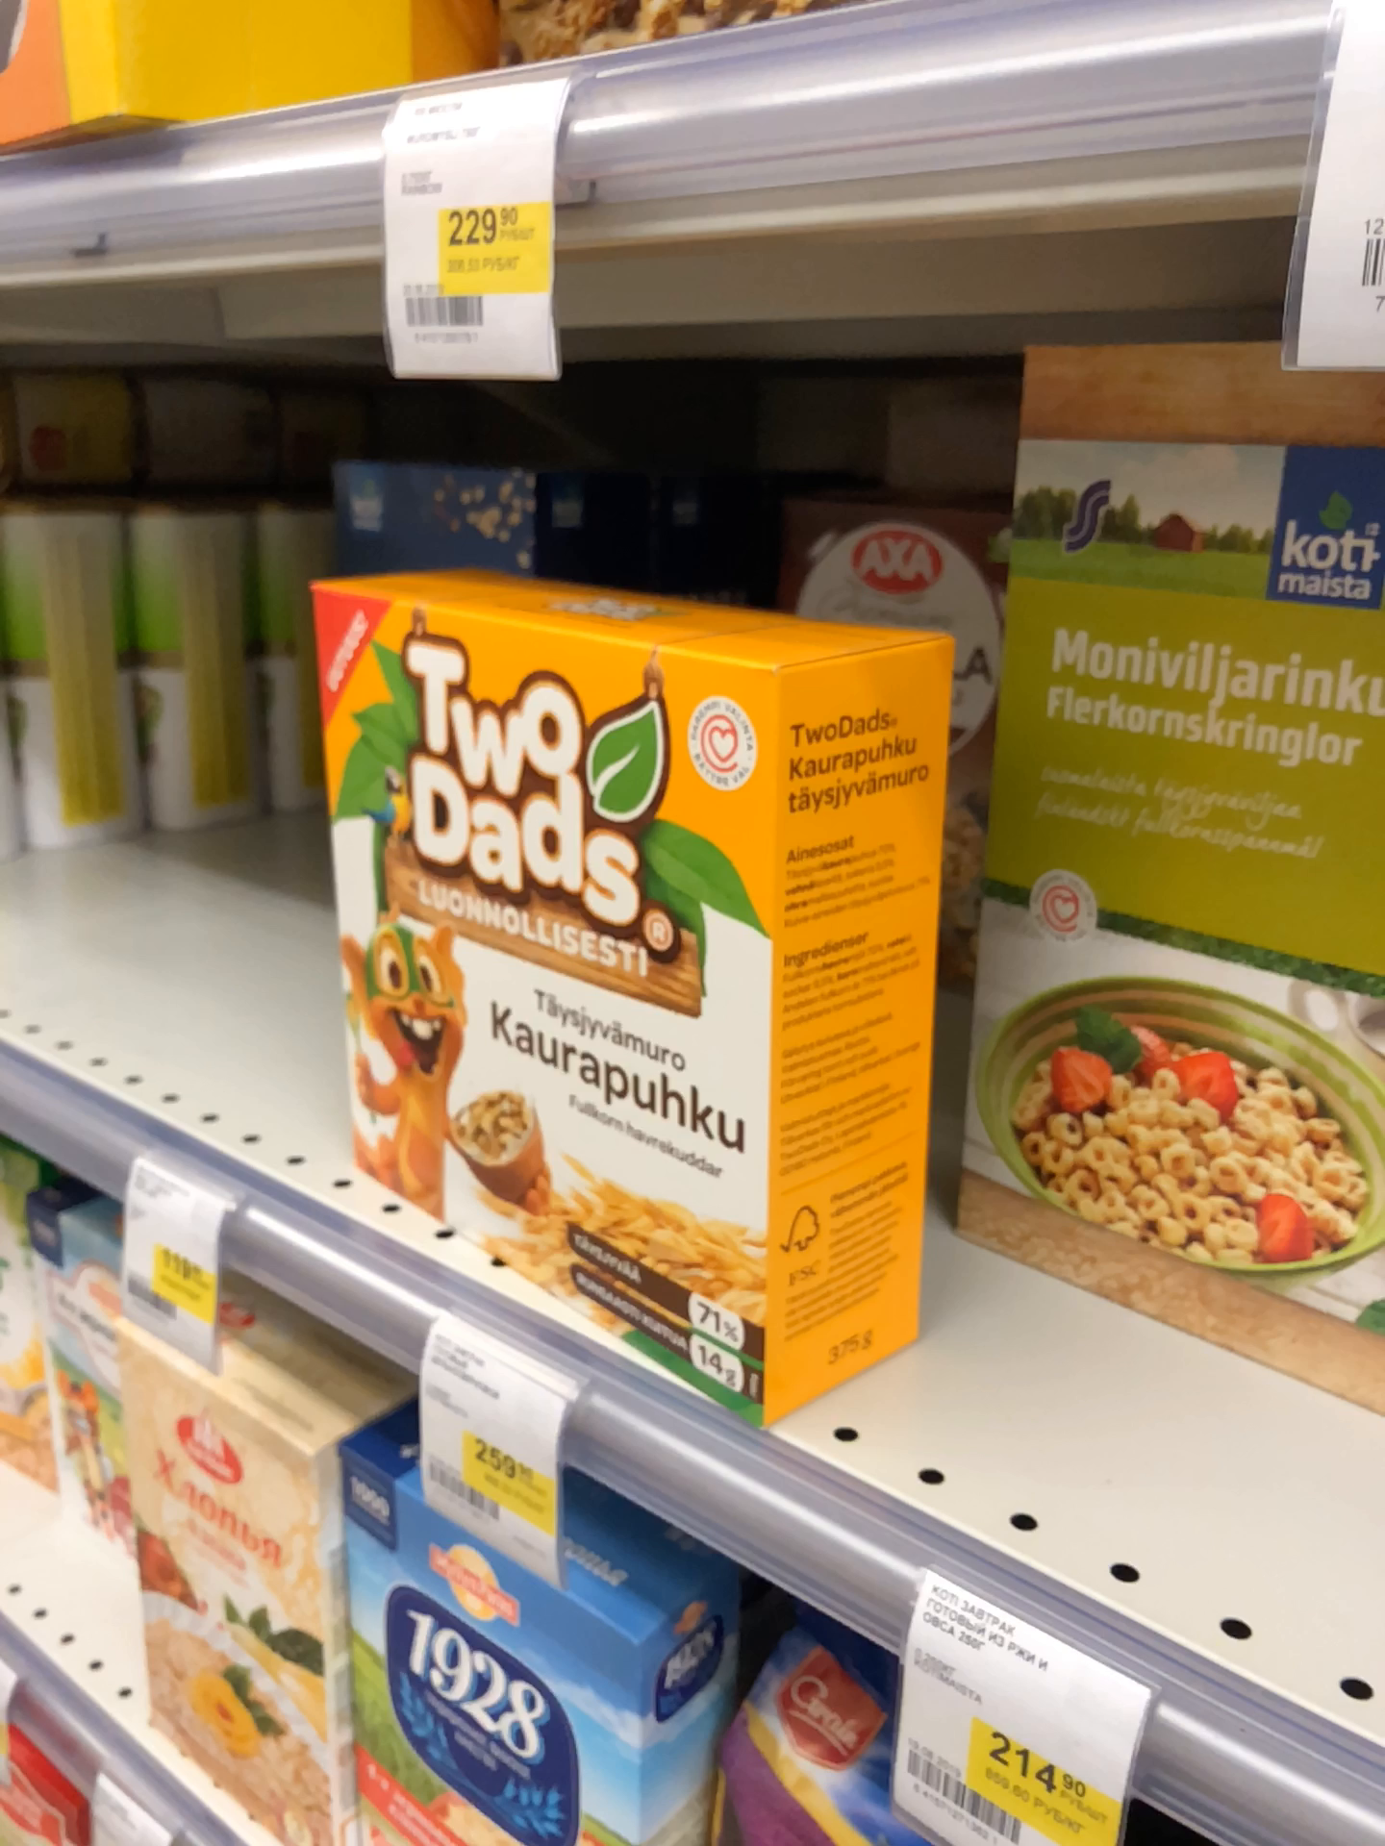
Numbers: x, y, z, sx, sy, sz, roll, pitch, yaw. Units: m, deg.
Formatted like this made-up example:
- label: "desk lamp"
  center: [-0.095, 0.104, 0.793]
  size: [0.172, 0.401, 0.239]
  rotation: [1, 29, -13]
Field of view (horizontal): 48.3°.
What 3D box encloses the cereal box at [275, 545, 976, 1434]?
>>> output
- label: "cereal box"
  center: [-0.030, 0.000, 0.430]
  size: [0.070, 0.189, 0.200]
  rotation: [-14, 23, -41]
